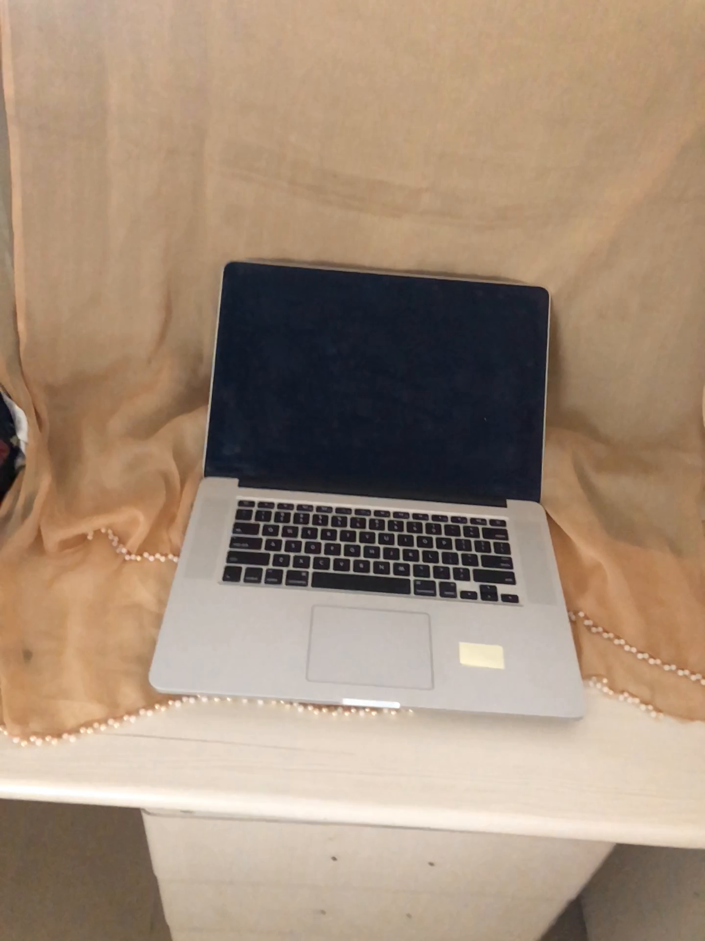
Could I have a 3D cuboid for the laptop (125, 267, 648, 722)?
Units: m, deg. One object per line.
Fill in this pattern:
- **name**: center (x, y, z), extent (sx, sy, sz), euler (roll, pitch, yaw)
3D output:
- **laptop**: center (0.025, -0.007, 0.690), extent (0.336, 0.135, 0.407), euler (5, 43, -2)
